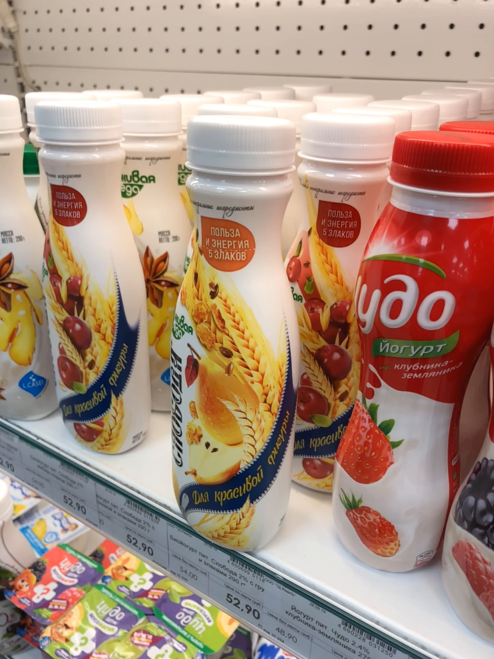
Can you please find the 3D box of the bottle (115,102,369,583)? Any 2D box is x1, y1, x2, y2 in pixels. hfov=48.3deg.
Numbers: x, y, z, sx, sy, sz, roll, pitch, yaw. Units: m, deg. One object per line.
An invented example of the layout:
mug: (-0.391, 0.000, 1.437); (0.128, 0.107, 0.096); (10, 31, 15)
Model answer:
bottle: (-0.002, 0.006, 0.241); (0.070, 0.189, 0.060); (19, 32, 33)
